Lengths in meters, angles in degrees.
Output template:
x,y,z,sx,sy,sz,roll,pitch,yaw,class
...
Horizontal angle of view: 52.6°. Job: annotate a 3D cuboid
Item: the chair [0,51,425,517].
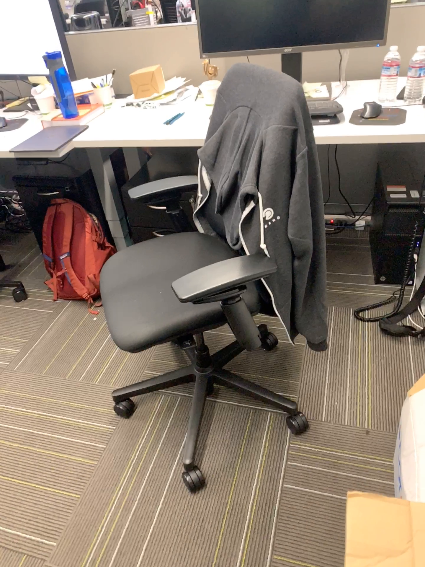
x,y,z,sx,sy,sz,roll,pitch,yaw,class
-0.019,-0.039,1.296,0.800,0.994,0.684,-20,38,-16,chair
